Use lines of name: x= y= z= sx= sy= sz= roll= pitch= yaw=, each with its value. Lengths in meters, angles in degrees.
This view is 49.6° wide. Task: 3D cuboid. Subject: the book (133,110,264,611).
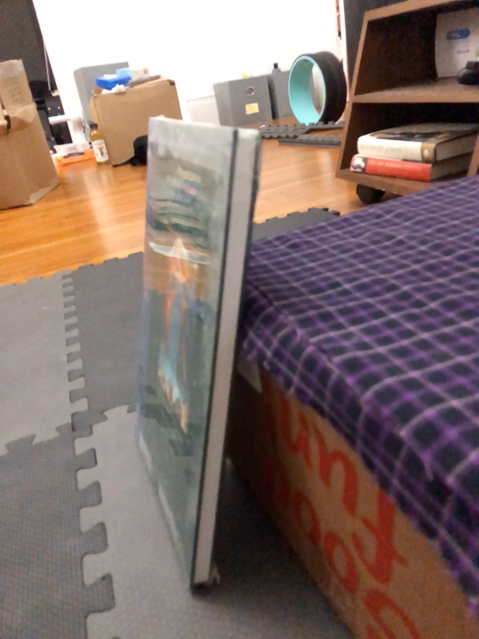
book: x=-0.050 y=0.014 z=0.408 sx=0.020 sy=0.329 sz=0.211 roll=-1 pitch=20 yaw=-21
